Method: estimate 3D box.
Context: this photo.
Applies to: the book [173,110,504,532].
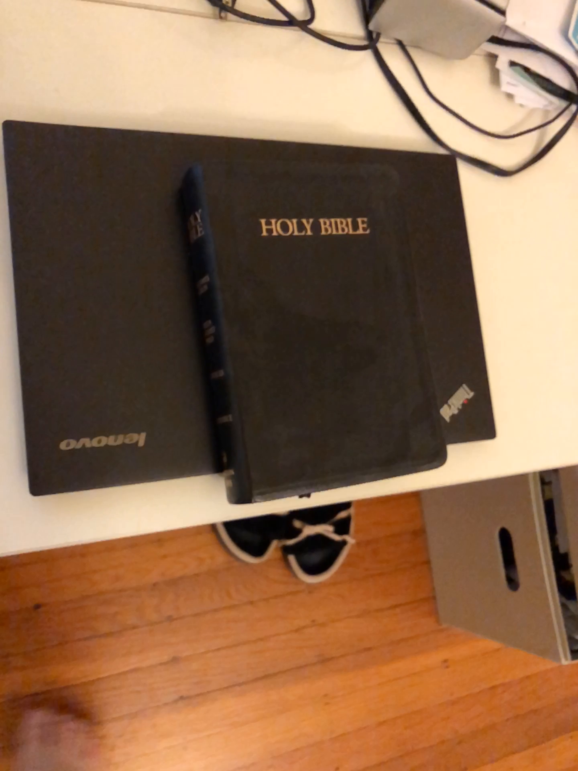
[{"bbox_3d":[0.031,-0.046,0.404,0.170,0.040,0.240,-7,83,-22],"label":"book"}]
